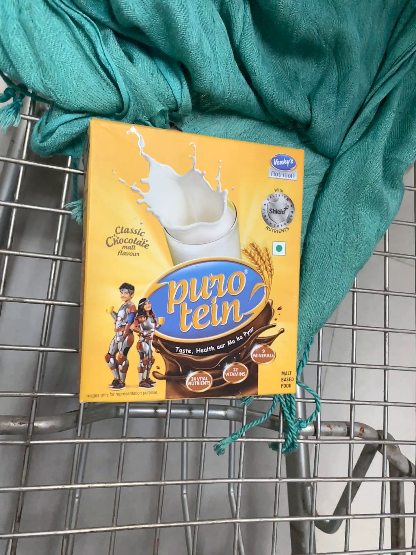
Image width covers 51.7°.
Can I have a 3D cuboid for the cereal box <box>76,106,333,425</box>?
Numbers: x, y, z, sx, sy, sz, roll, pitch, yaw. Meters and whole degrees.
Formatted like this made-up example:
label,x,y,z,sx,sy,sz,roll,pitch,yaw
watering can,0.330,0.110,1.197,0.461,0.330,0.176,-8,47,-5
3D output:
label,x,y,z,sx,sy,sz,roll,pitch,yaw
cereal box,-0.003,-0.003,0.262,0.140,0.050,0.160,3,91,-19
